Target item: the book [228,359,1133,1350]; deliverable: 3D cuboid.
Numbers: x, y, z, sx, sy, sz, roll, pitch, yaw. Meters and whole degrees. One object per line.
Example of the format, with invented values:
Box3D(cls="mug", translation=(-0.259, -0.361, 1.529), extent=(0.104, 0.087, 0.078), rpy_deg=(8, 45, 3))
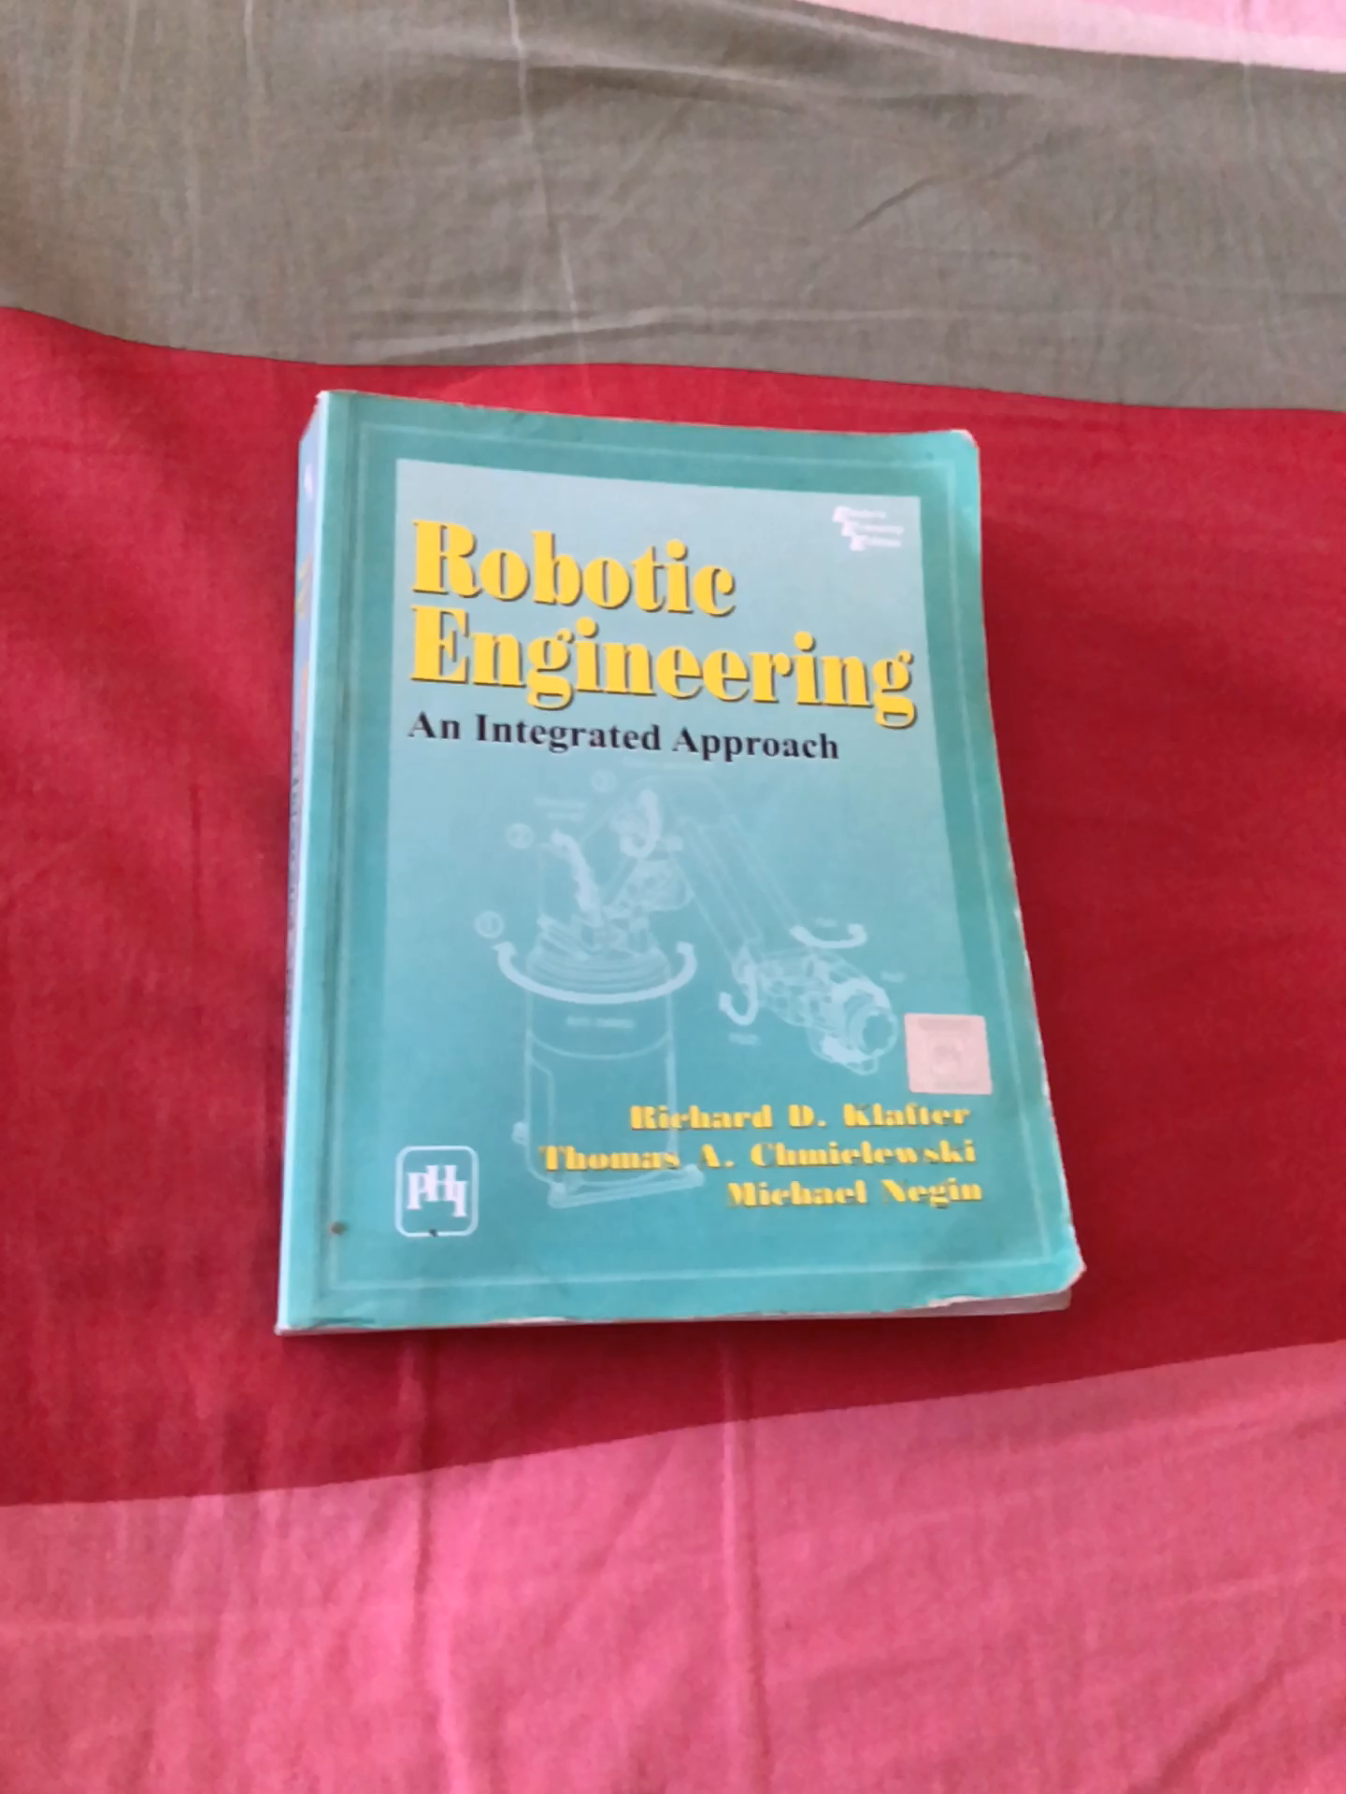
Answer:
Box3D(cls="book", translation=(-0.002, -0.011, 0.331), extent=(0.172, 0.043, 0.205), rpy_deg=(2, 70, -13))
